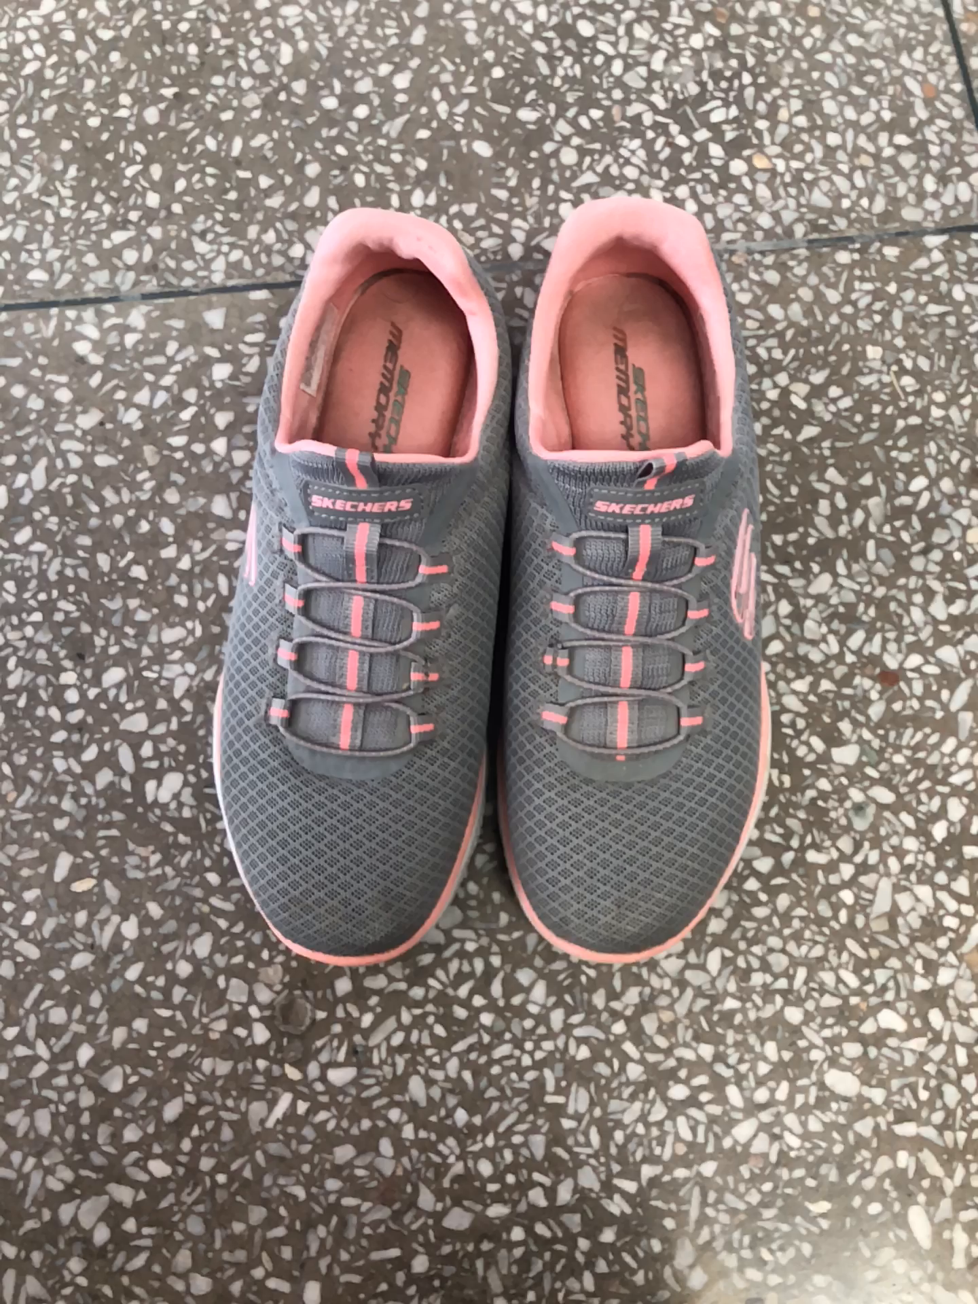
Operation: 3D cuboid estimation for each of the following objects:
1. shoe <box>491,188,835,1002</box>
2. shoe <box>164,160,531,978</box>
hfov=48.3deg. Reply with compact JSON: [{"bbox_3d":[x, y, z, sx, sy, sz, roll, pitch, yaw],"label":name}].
[{"bbox_3d":[0.052,-0.015,0.357,0.090,0.100,0.230,3,81,0],"label":"shoe"},{"bbox_3d":[-0.038,-0.023,0.367,0.090,0.100,0.240,3,81,0],"label":"shoe"}]
